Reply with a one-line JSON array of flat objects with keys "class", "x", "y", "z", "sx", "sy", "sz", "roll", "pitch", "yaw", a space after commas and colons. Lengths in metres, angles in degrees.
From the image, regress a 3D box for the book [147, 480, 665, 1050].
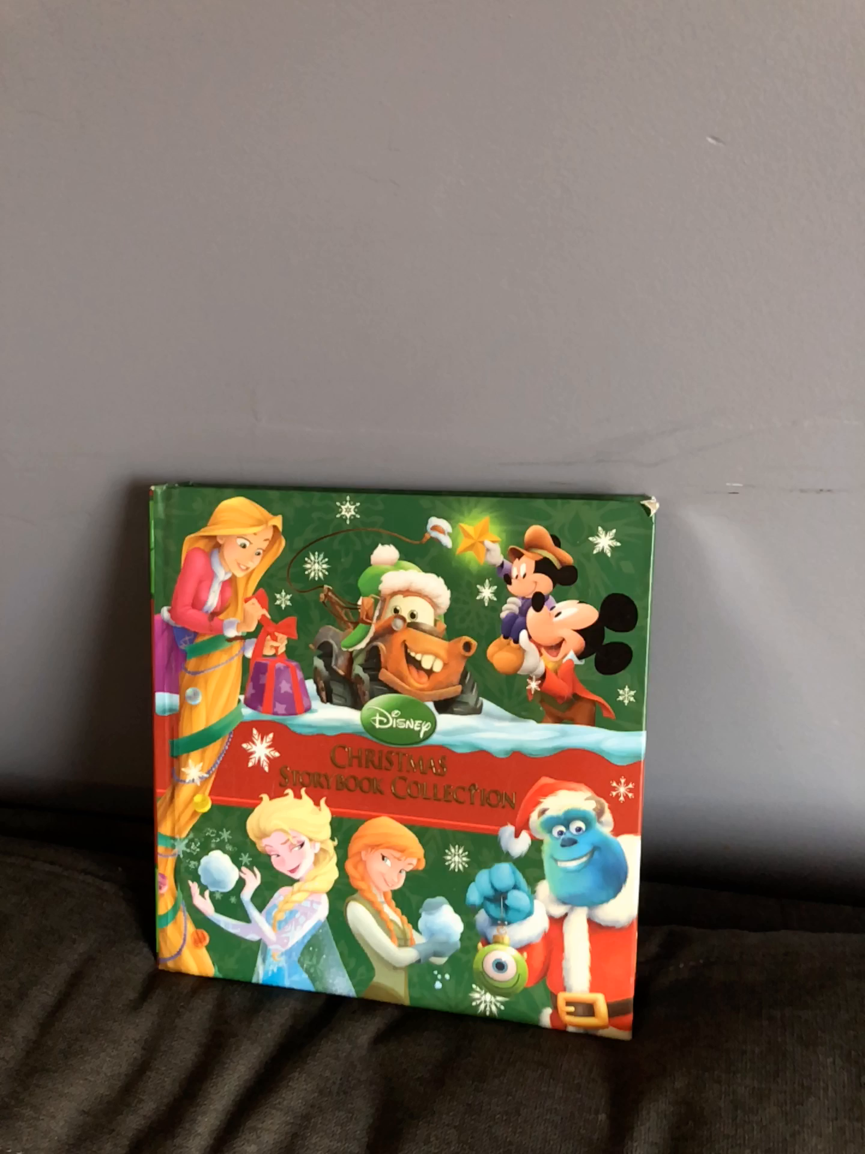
[{"class": "book", "x": -0.016, "y": 0.079, "z": 0.441, "sx": 0.227, "sy": 0.238, "sz": 0.033, "roll": 3, "pitch": 9, "yaw": 13}]
